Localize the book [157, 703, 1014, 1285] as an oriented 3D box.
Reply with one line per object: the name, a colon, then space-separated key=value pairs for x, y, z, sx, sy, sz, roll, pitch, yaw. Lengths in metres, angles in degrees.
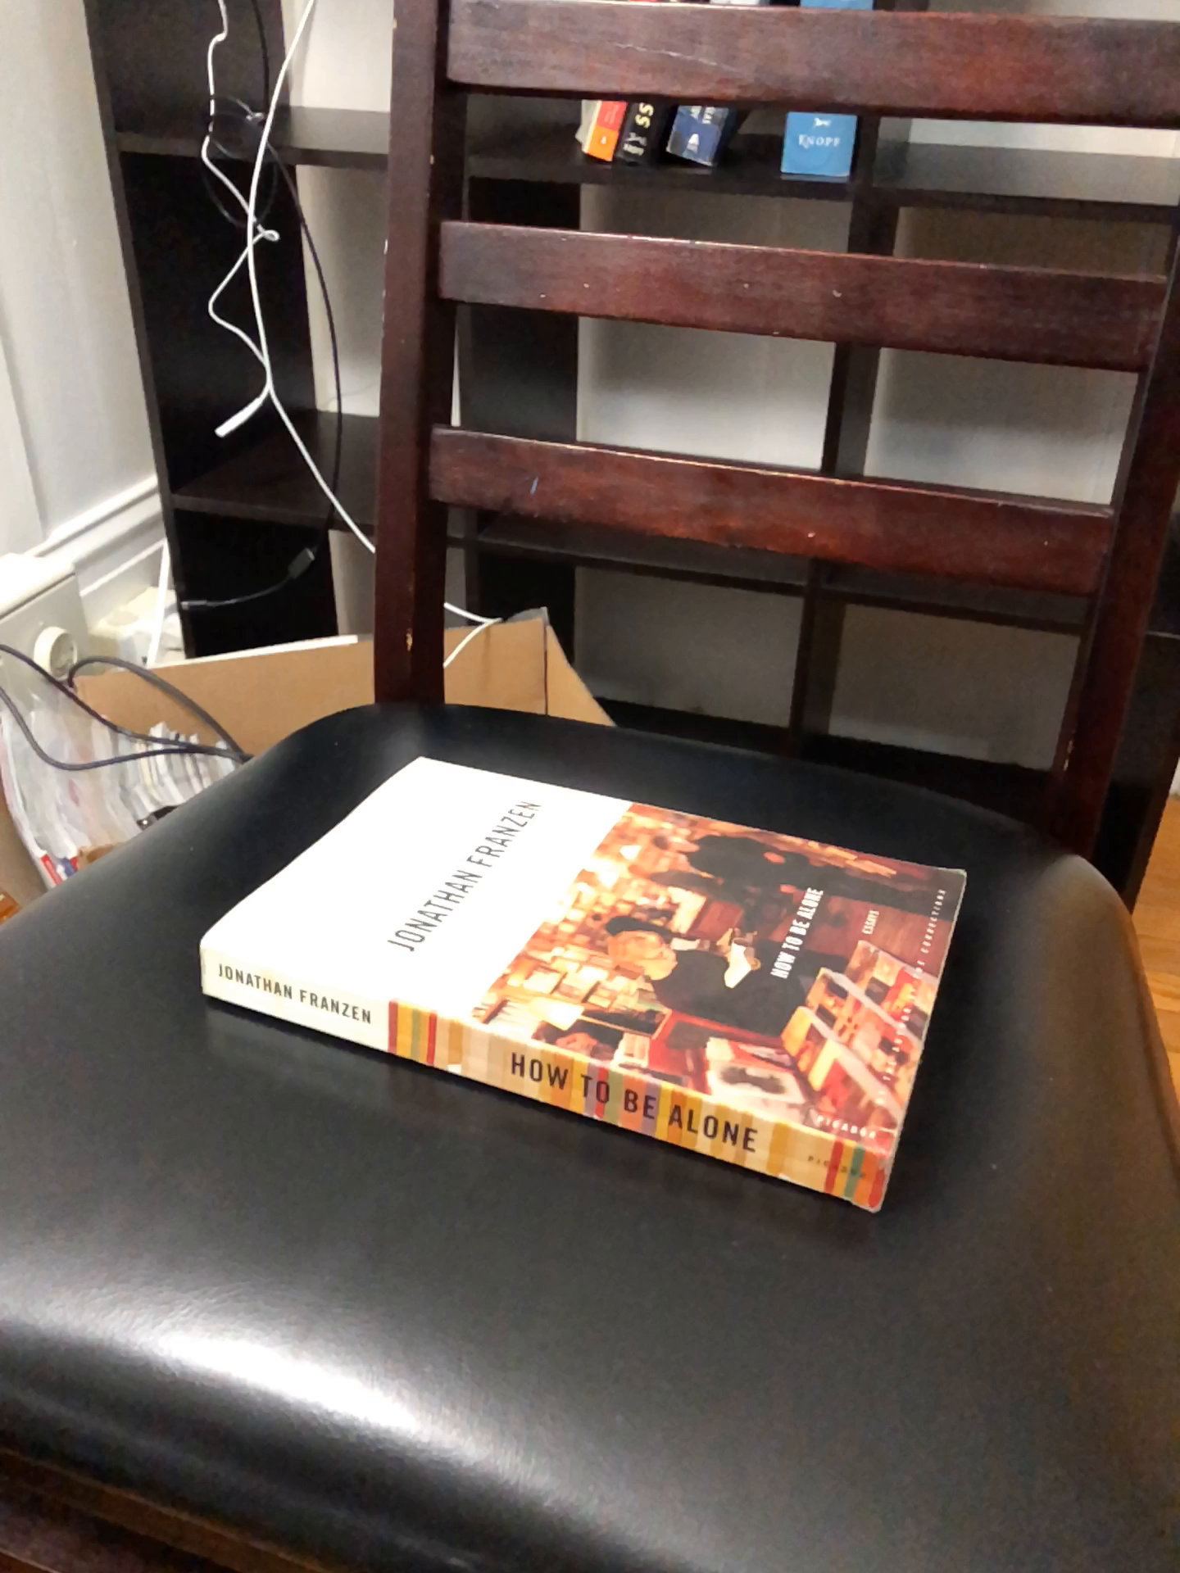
book: x=0.007 y=0.048 z=0.425 sx=0.230 sy=0.040 sz=0.161 roll=13 pitch=34 yaw=18
